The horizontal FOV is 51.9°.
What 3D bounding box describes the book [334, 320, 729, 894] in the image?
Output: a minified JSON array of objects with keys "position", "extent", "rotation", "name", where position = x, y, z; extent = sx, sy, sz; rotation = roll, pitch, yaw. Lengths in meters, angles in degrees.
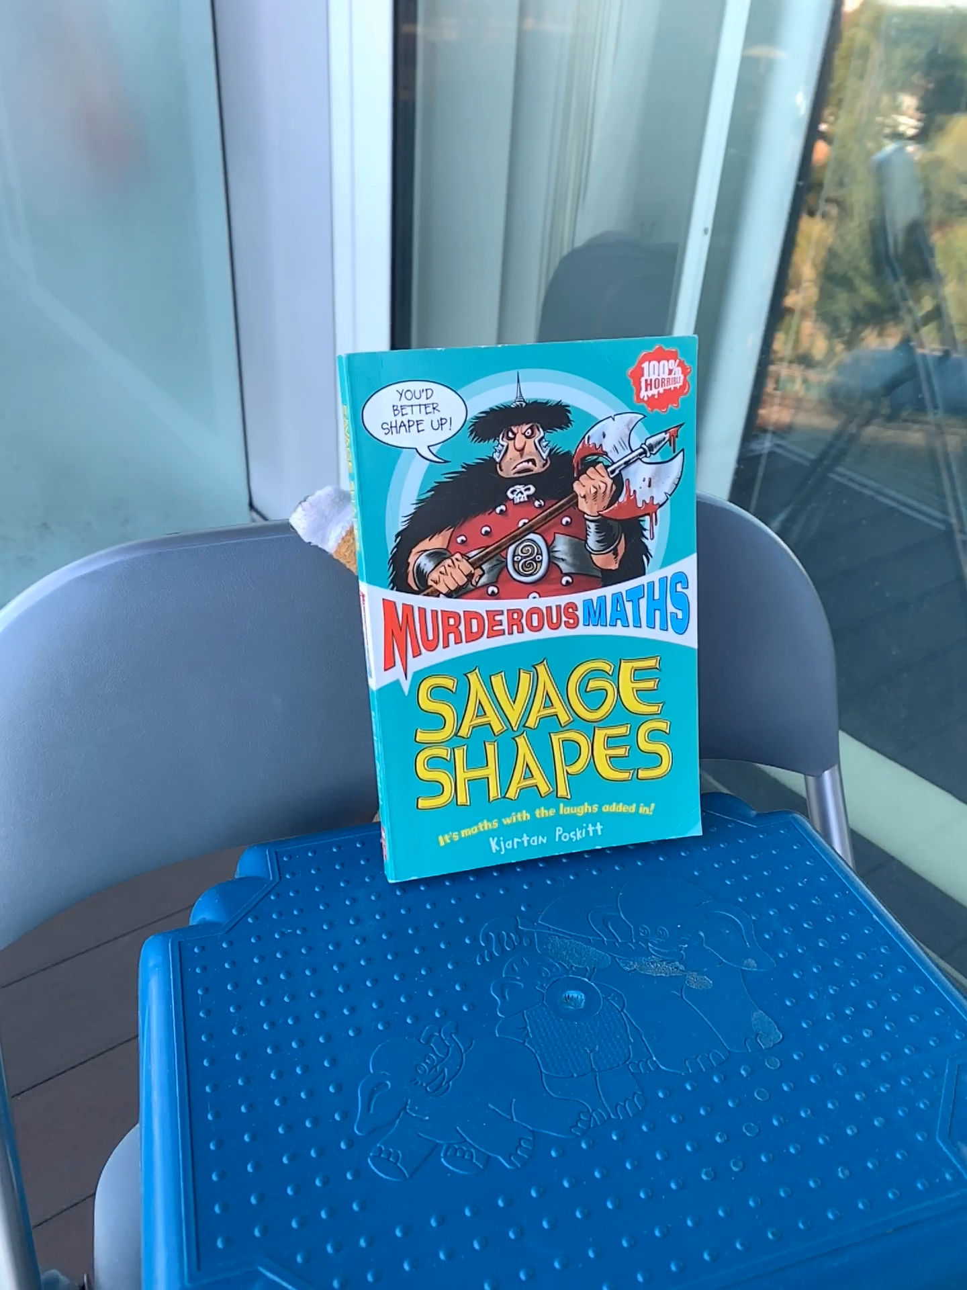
[{"position":[0.021,-0.015,0.363],"extent":[0.133,0.193,0.029],"rotation":[-6,14,-15],"name":"book"}]
